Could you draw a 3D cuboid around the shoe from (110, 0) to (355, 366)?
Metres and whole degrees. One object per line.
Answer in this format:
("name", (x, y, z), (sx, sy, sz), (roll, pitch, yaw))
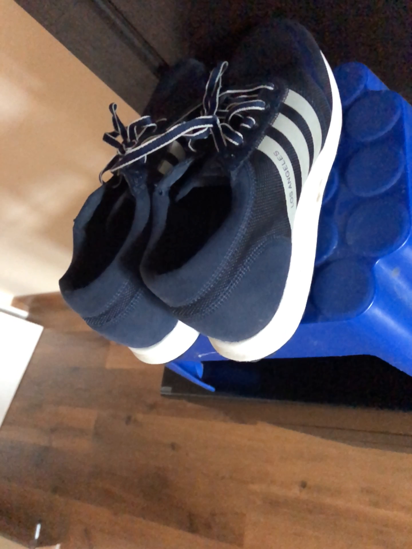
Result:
("shoe", (0.034, -0.075, 0.337), (0.110, 0.109, 0.261), (-8, 63, 36))

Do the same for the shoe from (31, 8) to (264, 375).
("shoe", (-0.033, -0.061, 0.377), (0.110, 0.109, 0.261), (-11, 61, 34))
